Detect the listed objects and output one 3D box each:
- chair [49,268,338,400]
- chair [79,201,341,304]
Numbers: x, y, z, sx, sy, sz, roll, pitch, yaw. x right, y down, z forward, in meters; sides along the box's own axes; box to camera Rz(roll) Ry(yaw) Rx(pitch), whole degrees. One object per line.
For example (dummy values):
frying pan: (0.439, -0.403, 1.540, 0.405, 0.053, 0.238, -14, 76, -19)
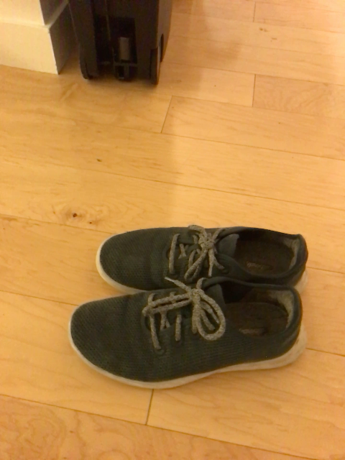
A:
chair: (0.020, 0.127, 0.457, 0.300, 0.099, 0.111, -2, 54, -5)
chair: (0.044, 0.033, 0.518, 0.320, 0.099, 0.101, -2, 62, -4)
